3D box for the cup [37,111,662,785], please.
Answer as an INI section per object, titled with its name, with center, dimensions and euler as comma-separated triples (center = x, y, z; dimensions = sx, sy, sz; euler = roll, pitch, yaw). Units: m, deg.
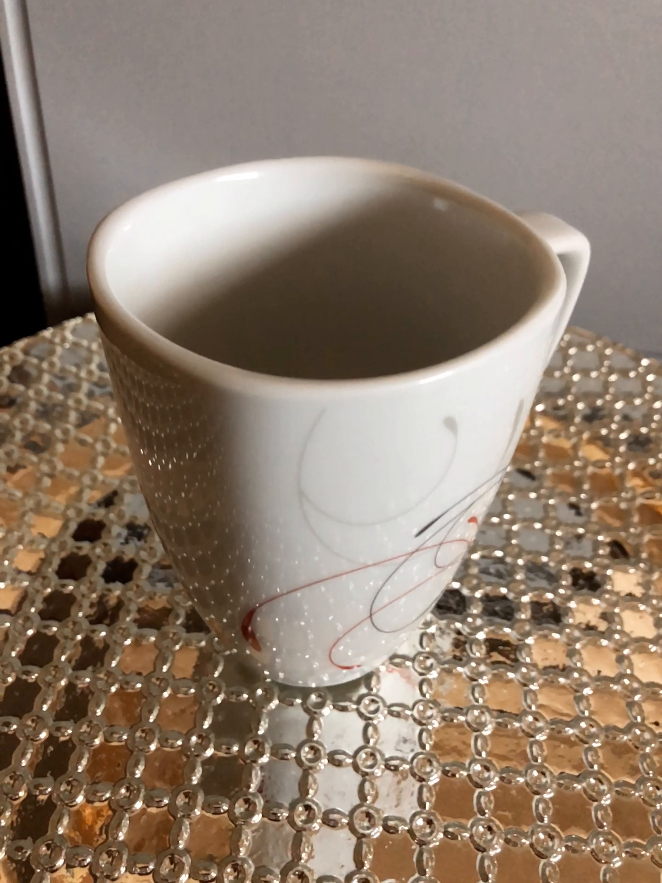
[cup]
center = 0.010, -0.007, 0.182
dimensions = 0.110, 0.099, 0.080
euler = -31, 52, -33
